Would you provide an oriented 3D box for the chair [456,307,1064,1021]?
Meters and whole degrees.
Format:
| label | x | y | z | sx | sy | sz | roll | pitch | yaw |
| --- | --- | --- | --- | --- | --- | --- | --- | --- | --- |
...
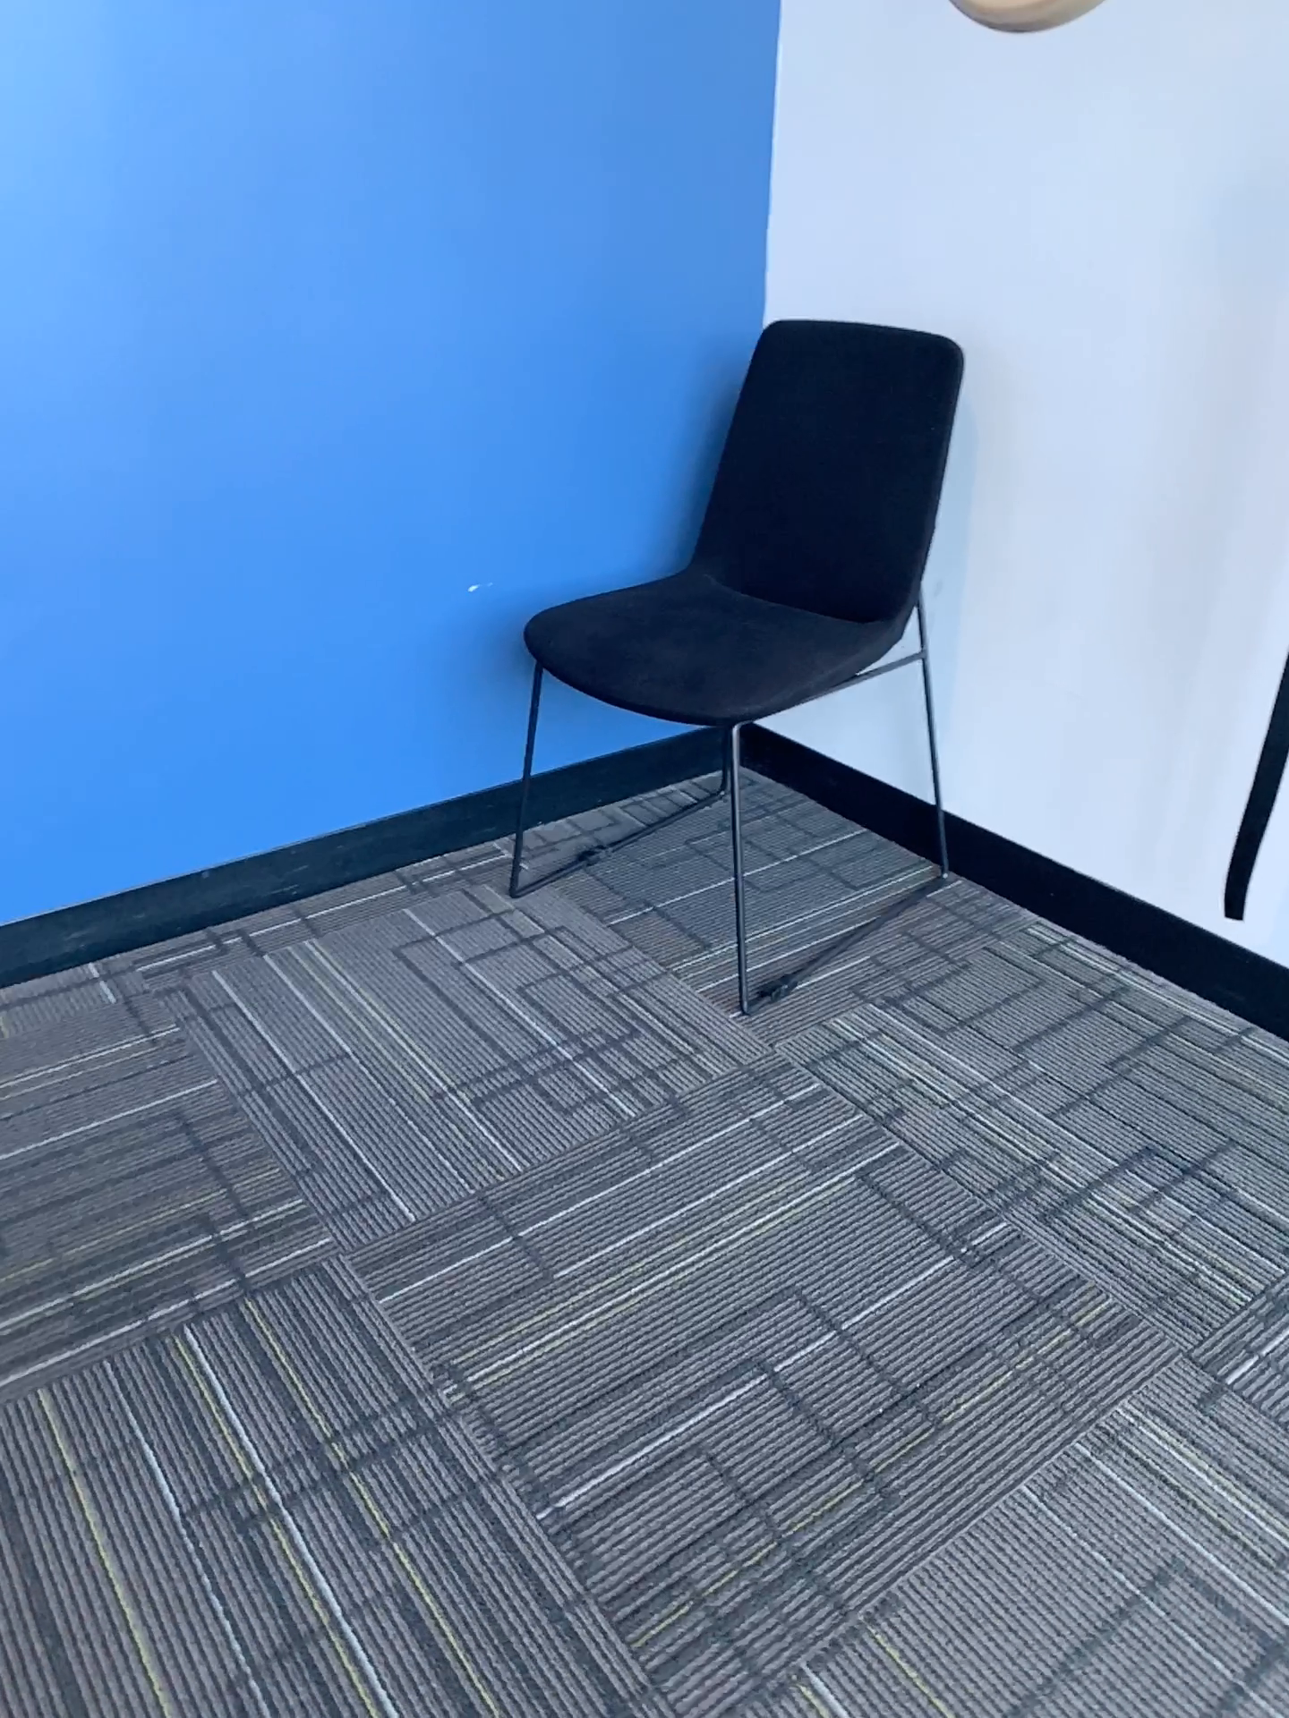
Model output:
| label | x | y | z | sx | sy | sz | roll | pitch | yaw |
| --- | --- | --- | --- | --- | --- | --- | --- | --- | --- |
| chair | 0.145 | -0.313 | 1.801 | 0.502 | 0.756 | 0.581 | 24 | 35 | 37 |
